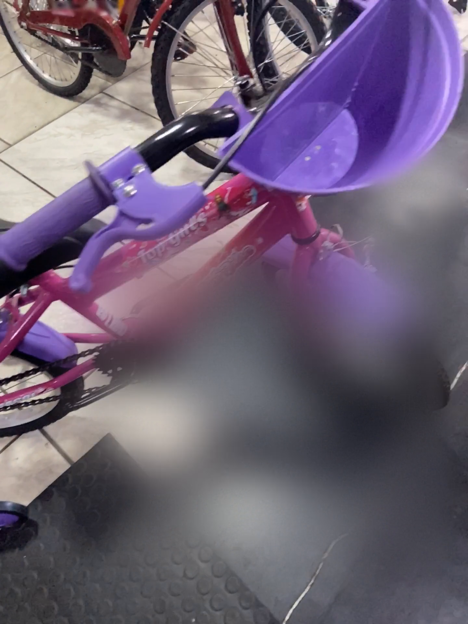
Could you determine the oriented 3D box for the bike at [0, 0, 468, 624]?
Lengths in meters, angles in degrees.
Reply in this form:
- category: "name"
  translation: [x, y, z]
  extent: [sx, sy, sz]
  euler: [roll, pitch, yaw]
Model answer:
- category: "bike"
  translation: [-0.148, 0.060, 0.612]
  extent: [0.921, 0.703, 0.548]
  euler: [-2, 54, 3]
